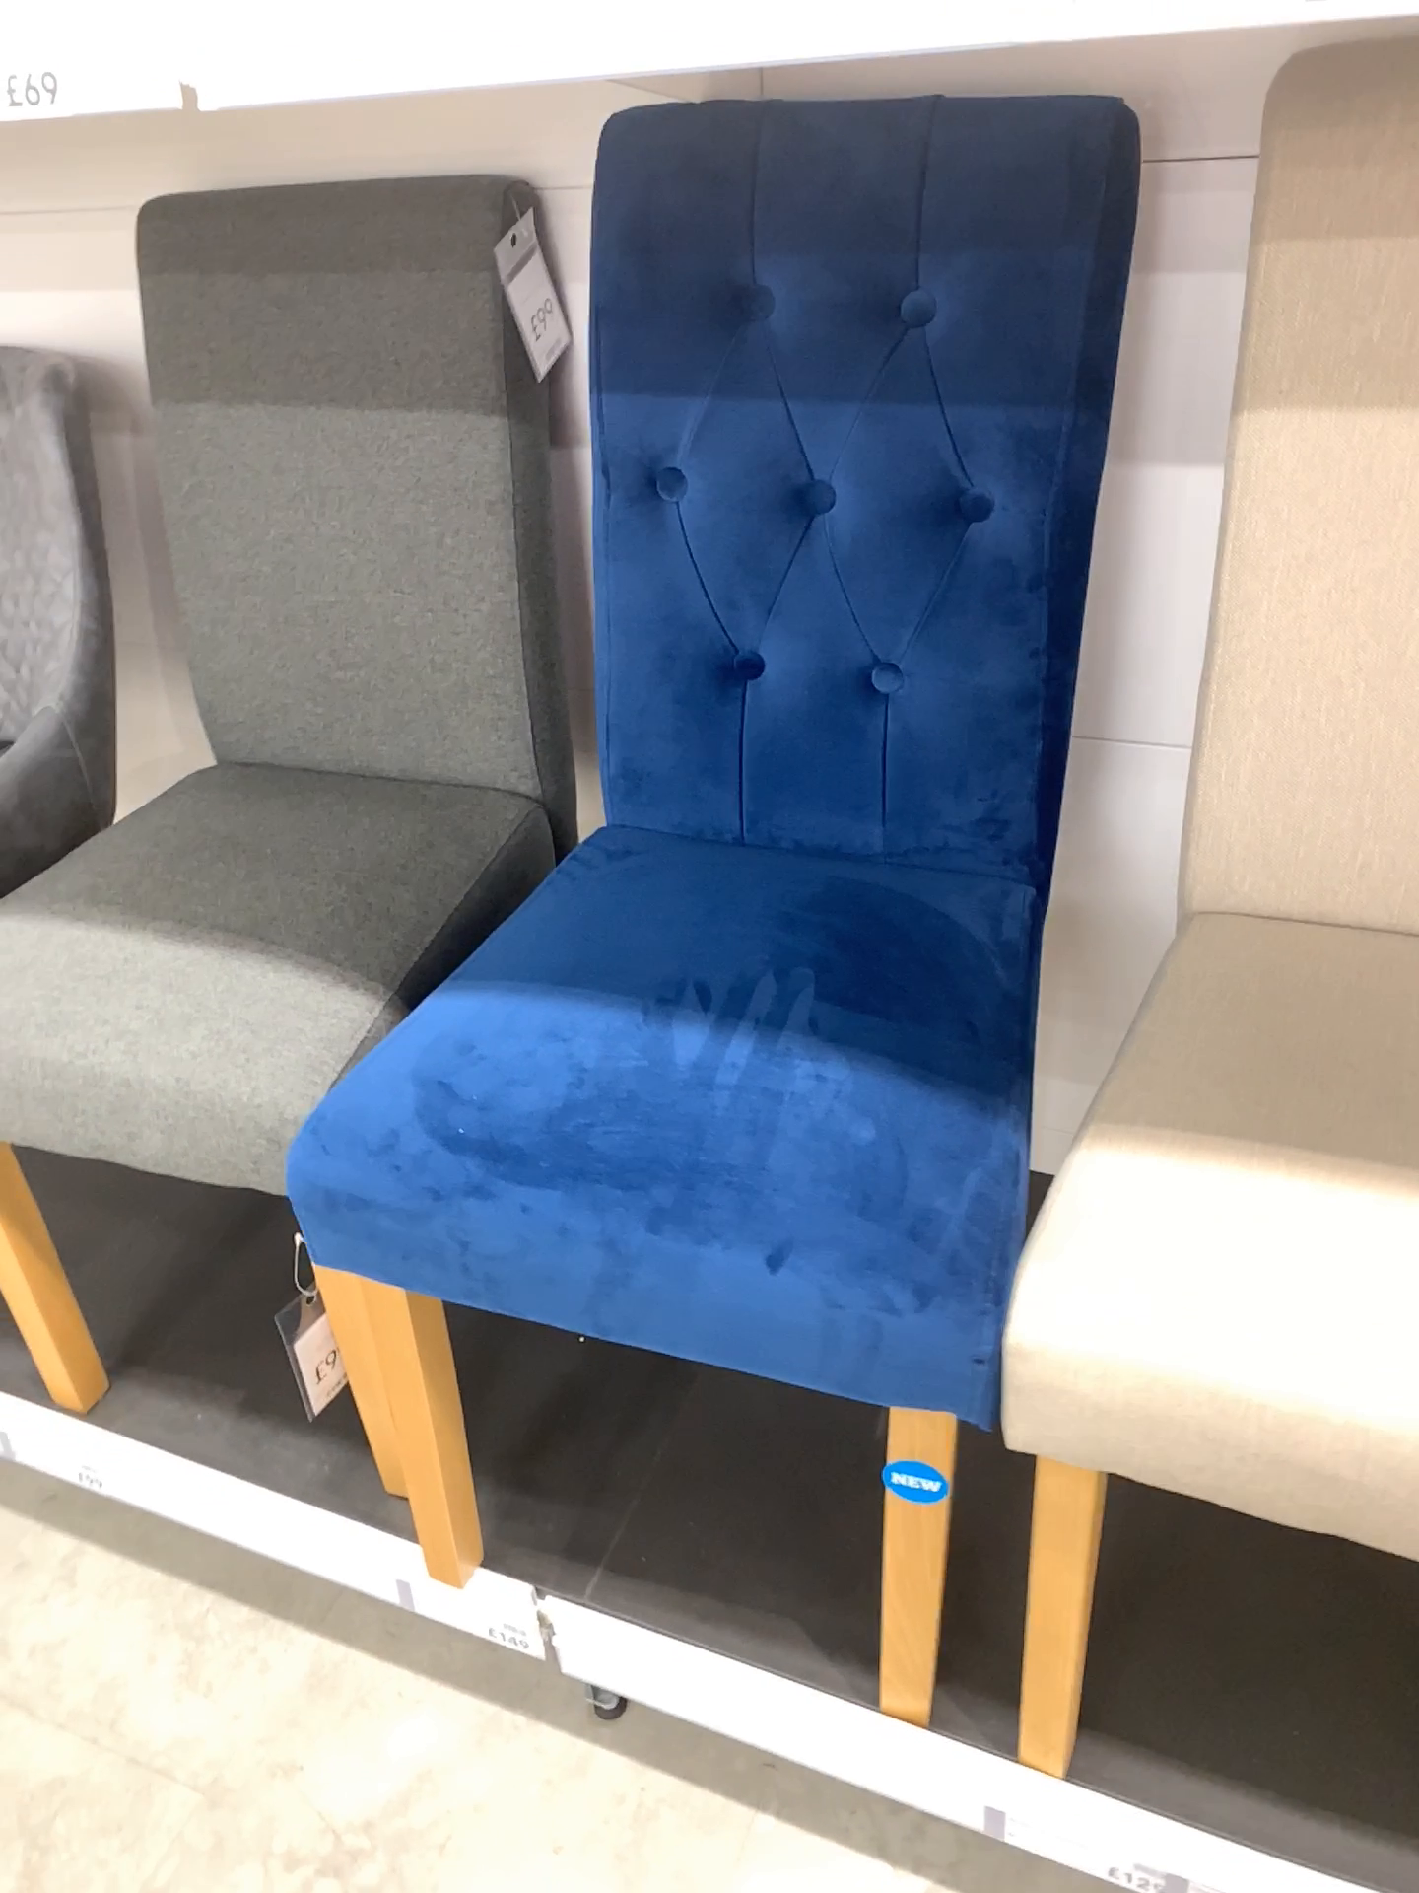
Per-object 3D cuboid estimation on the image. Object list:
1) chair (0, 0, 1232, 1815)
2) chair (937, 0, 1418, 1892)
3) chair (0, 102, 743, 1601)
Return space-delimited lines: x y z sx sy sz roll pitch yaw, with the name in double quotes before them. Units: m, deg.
"chair" 0.043 -0.063 1.089 0.490 1.035 0.672 9 30 21
"chair" 0.482 0.004 0.905 0.490 1.035 0.672 9 30 21
"chair" -0.341 -0.125 1.264 0.490 1.025 0.672 9 30 21
